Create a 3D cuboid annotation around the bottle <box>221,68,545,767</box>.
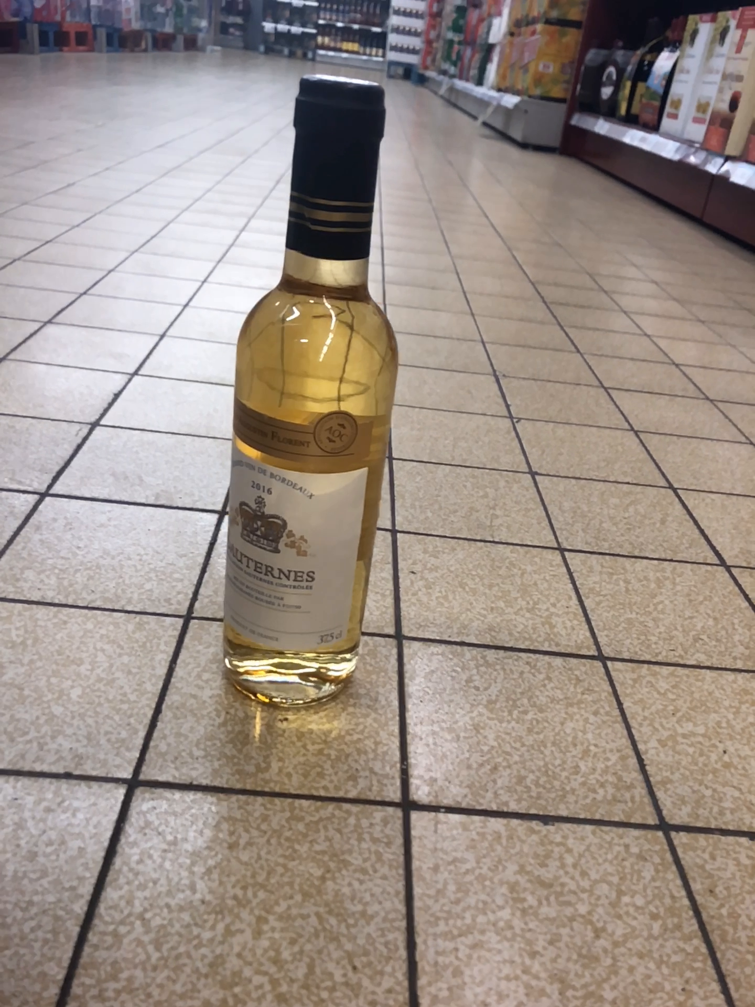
[{"bbox_3d":[-0.005,-0.025,0.315,0.070,0.239,0.070,6,27,-3],"label":"bottle"}]
